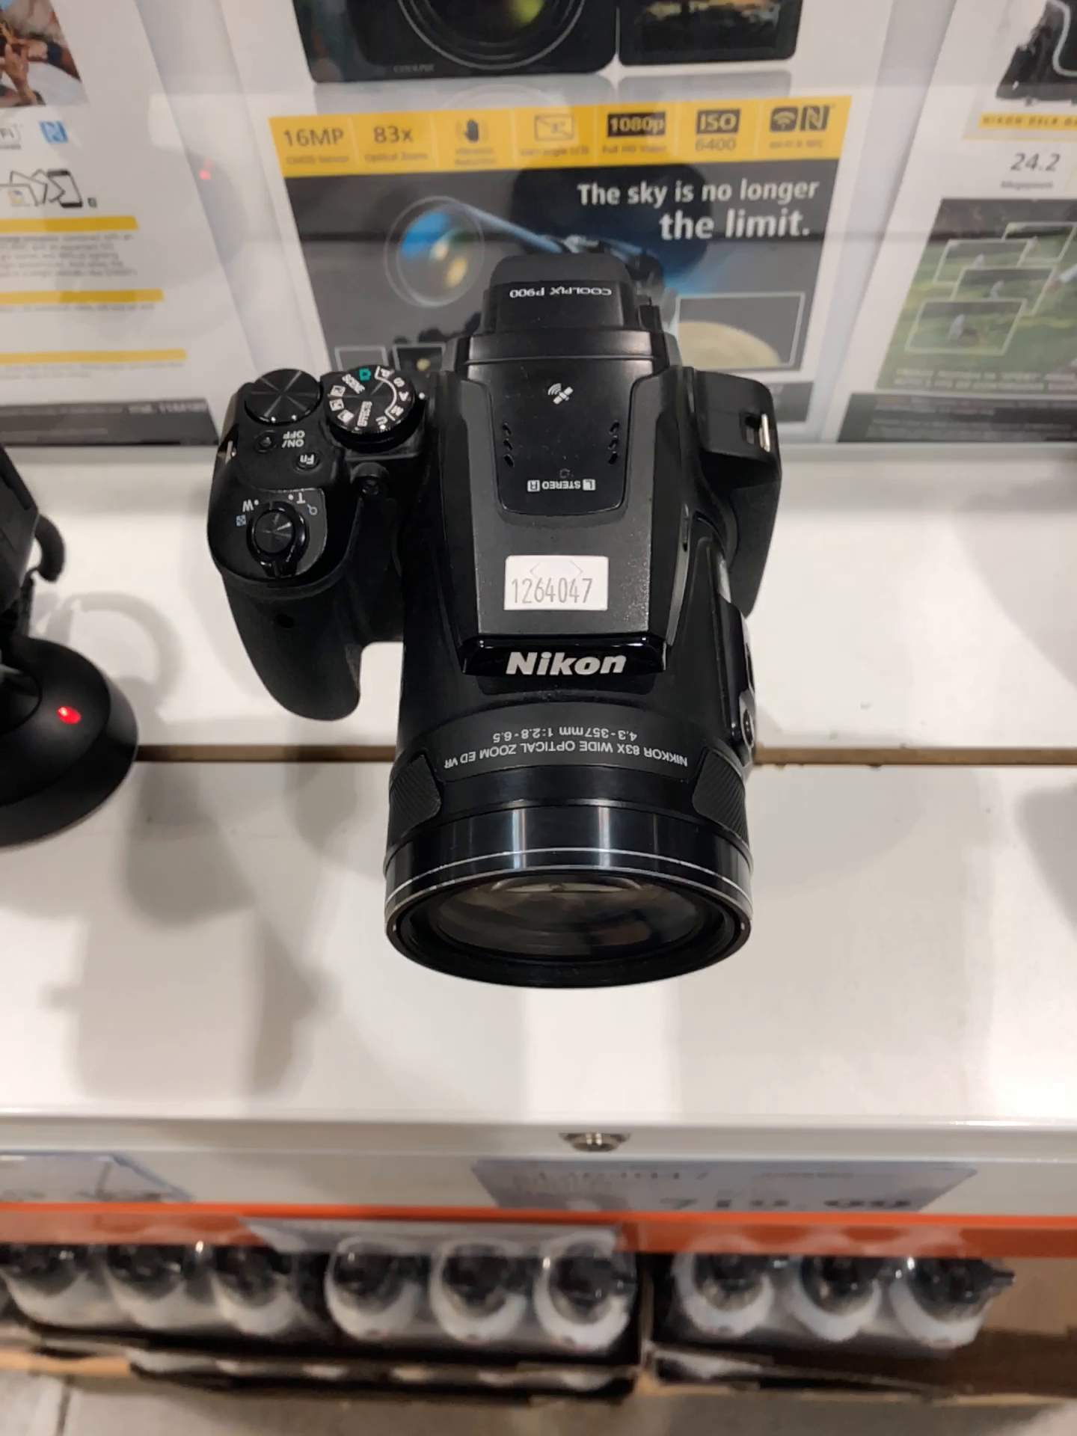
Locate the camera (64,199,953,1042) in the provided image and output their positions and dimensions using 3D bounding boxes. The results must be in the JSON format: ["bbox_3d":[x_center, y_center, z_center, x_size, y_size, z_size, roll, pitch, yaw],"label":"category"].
[{"bbox_3d":[-0.005,-0.021,0.274,0.140,0.100,0.160,-1,59,1],"label":"camera"}]
